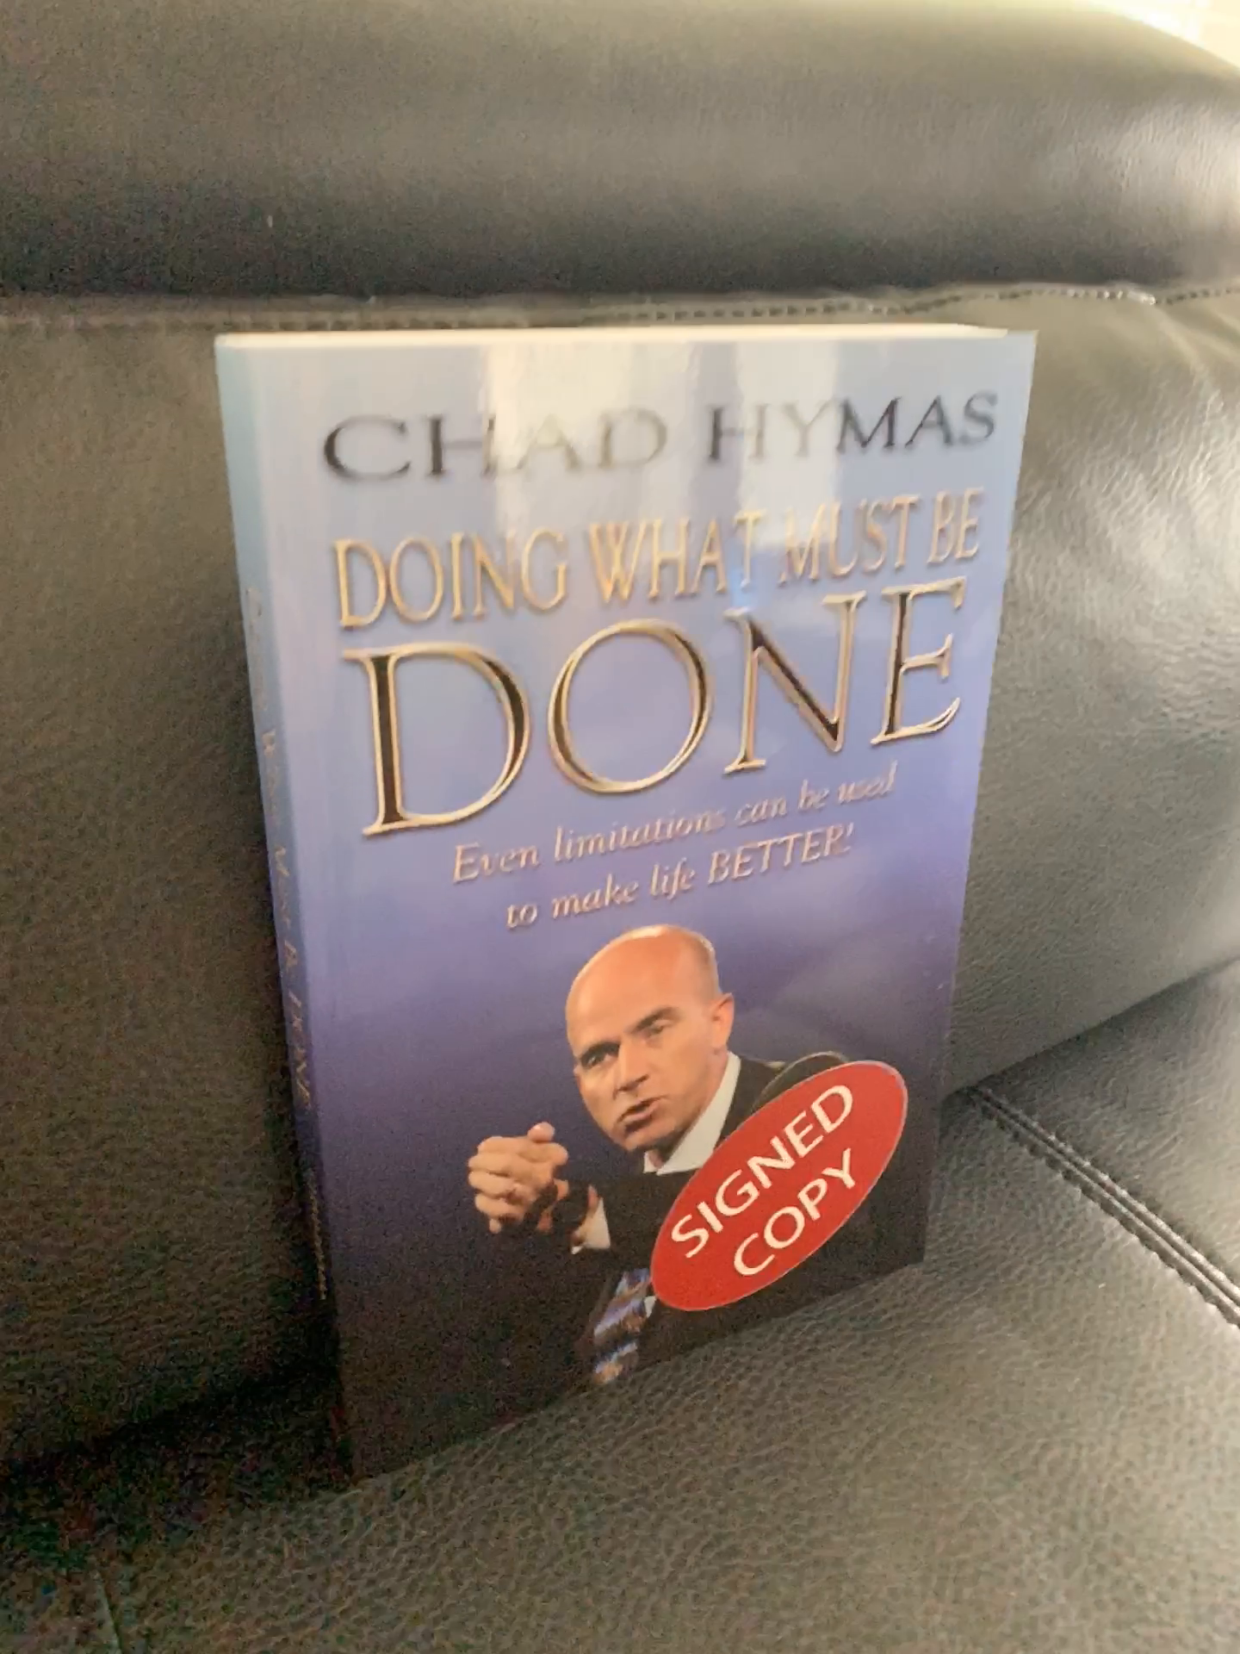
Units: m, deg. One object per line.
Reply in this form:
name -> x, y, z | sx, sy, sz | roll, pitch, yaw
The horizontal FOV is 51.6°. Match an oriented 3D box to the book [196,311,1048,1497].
book -> 0.007, 0.015, 0.266 | 0.157, 0.225, 0.025 | -9, 22, -25
